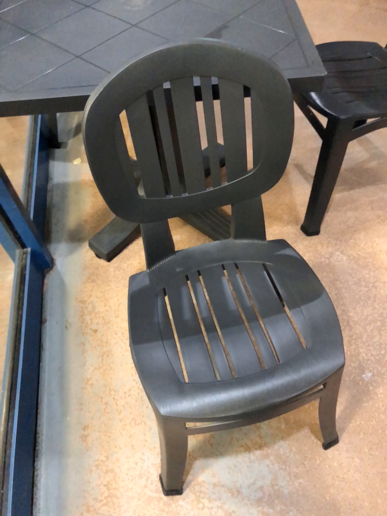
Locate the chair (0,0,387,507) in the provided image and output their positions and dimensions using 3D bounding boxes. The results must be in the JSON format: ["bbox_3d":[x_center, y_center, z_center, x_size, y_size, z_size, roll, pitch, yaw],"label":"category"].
[{"bbox_3d":[0.058,0.037,0.779,0.500,0.736,0.553,-13,54,-5],"label":"chair"}]
